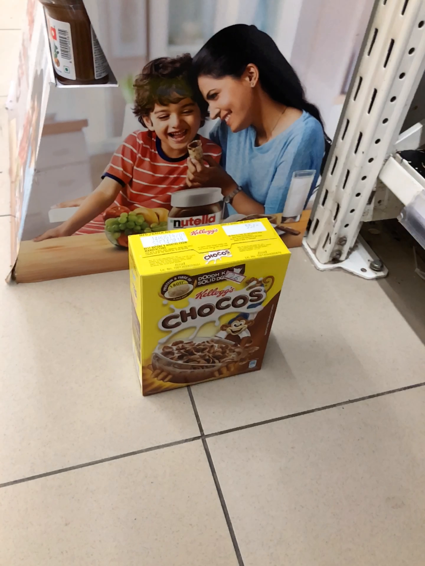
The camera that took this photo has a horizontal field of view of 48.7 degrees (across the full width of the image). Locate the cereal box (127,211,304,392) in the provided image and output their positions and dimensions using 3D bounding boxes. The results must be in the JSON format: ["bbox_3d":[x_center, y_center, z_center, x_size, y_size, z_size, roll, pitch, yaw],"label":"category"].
[{"bbox_3d":[-0.006,0.022,0.451,0.140,0.169,0.050,-9,47,-17],"label":"cereal box"}]
